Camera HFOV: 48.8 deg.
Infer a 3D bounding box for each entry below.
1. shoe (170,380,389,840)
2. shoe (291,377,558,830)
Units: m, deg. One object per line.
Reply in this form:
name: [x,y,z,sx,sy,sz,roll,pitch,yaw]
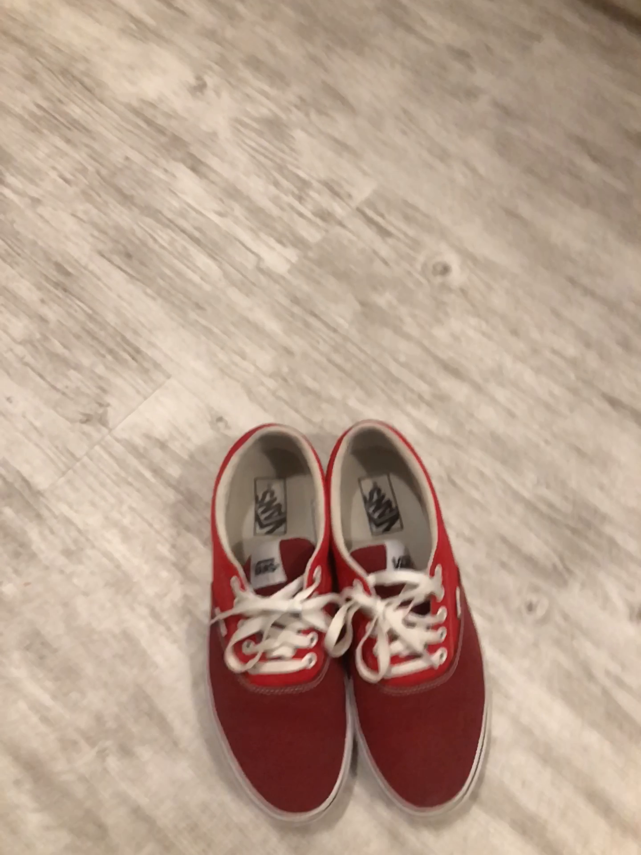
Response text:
shoe: [-0.034,0.114,0.486,0.110,0.093,0.272,-6,67,-4]
shoe: [0.056,0.110,0.486,0.110,0.088,0.266,-9,67,-5]
